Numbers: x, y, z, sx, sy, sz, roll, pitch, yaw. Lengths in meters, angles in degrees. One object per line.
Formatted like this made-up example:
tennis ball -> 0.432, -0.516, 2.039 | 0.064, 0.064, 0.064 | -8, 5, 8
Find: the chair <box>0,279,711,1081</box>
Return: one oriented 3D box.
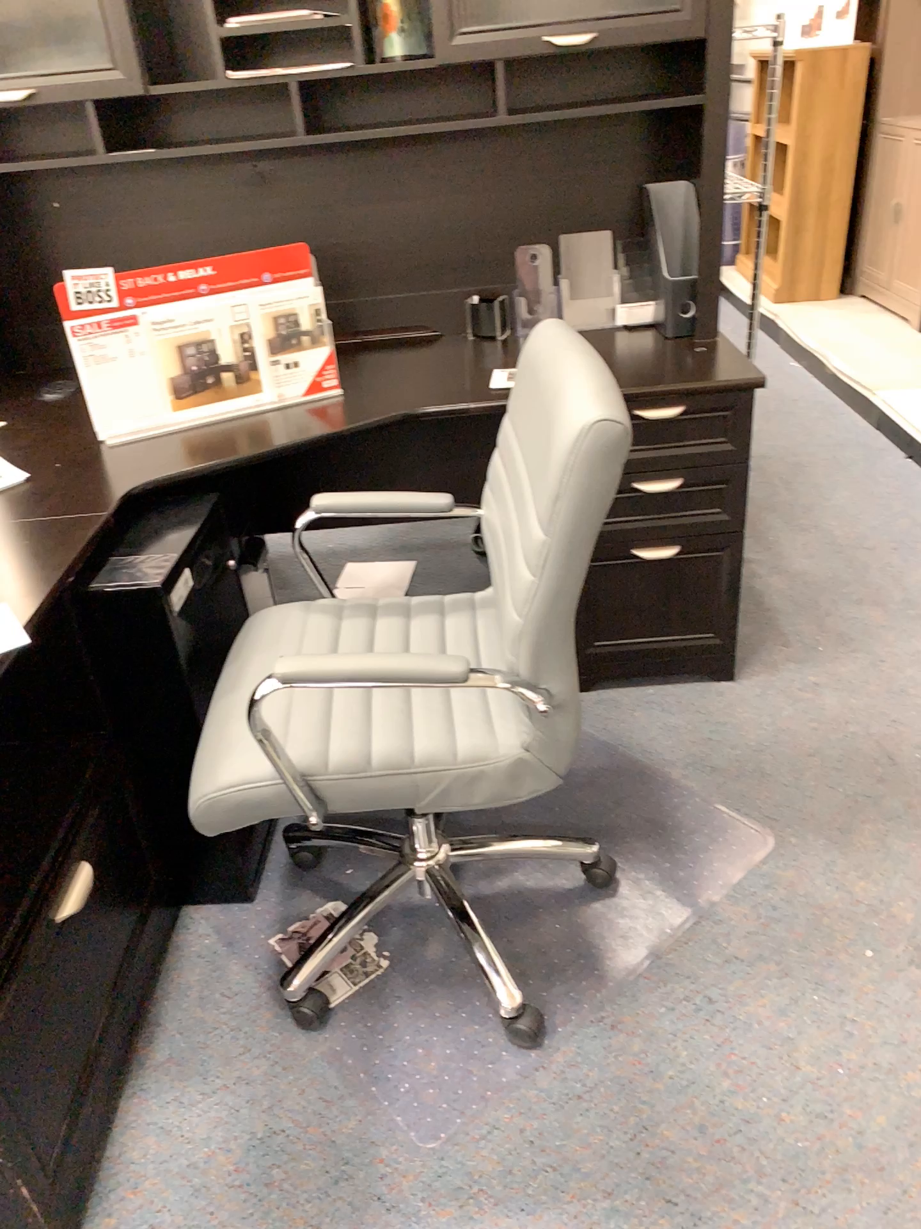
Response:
chair -> -0.075, 0.089, 1.411 | 0.707, 0.962, 0.661 | -3, 30, 3
